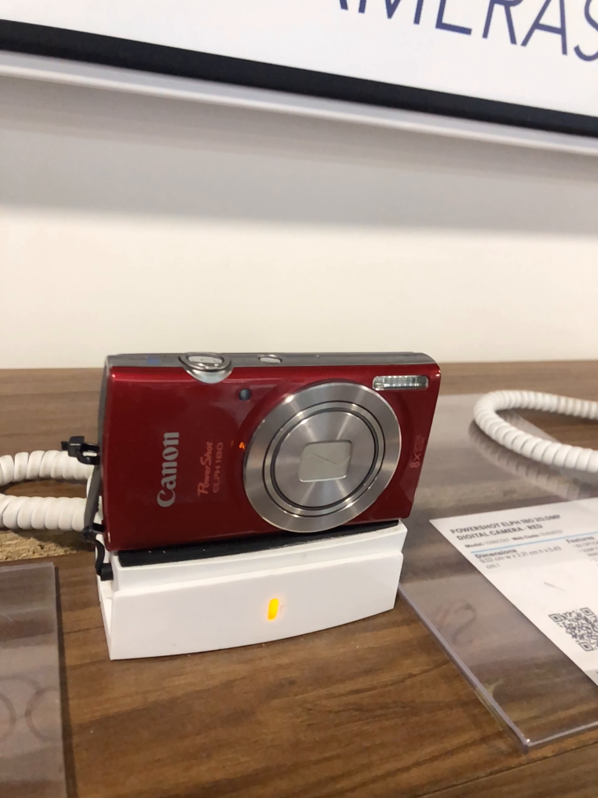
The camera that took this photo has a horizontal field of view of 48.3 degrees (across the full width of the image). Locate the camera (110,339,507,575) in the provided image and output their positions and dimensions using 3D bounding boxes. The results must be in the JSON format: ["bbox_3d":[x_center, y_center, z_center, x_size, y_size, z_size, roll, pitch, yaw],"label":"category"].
[{"bbox_3d":[0.002,0.012,0.183,0.100,0.050,0.030,-1,21,-21],"label":"camera"}]
